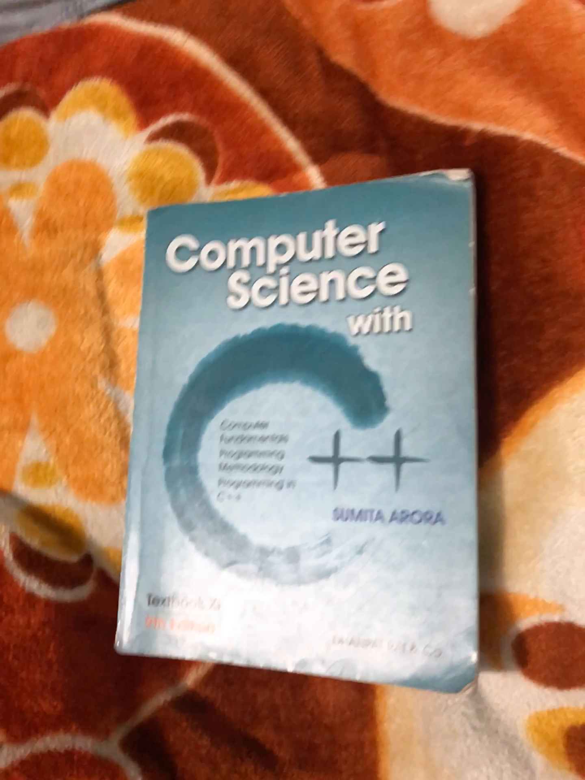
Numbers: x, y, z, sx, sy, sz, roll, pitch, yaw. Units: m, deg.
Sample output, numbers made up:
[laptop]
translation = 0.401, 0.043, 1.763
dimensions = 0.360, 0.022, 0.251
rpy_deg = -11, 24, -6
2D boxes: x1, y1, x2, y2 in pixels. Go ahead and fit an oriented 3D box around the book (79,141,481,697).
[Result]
[book]
translation = -0.005, 0.010, 0.366
dimensions = 0.210, 0.040, 0.270
rpy_deg = -1, 80, 17
